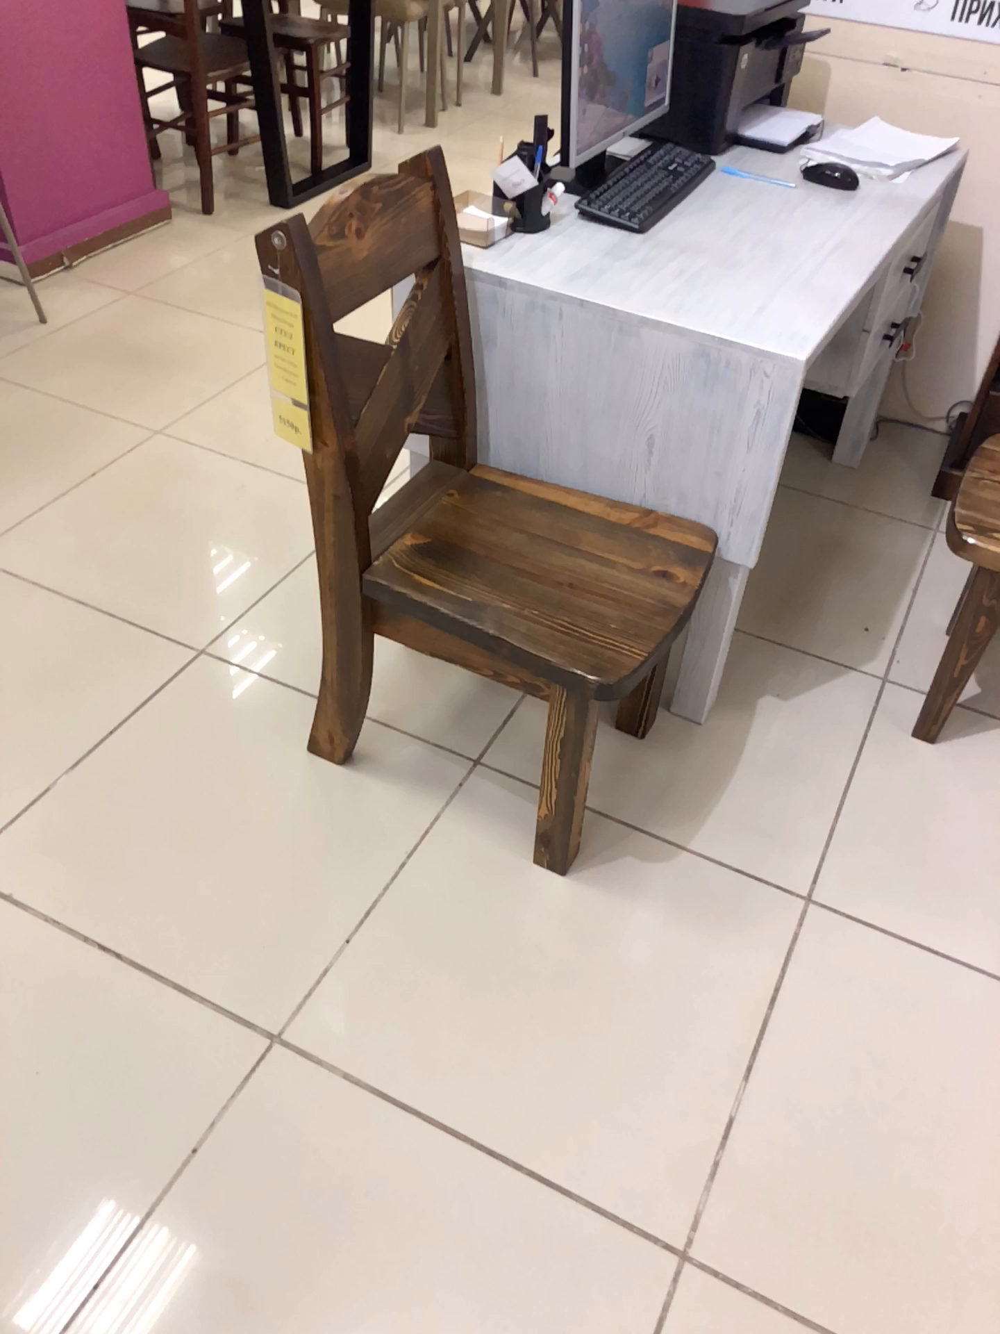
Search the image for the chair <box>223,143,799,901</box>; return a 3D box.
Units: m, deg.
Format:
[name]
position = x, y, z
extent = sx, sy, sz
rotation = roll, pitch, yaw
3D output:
[chair]
position = 0.008, -0.199, 1.645
extent = 0.570, 0.895, 0.452
rotation = 20, 44, 17
